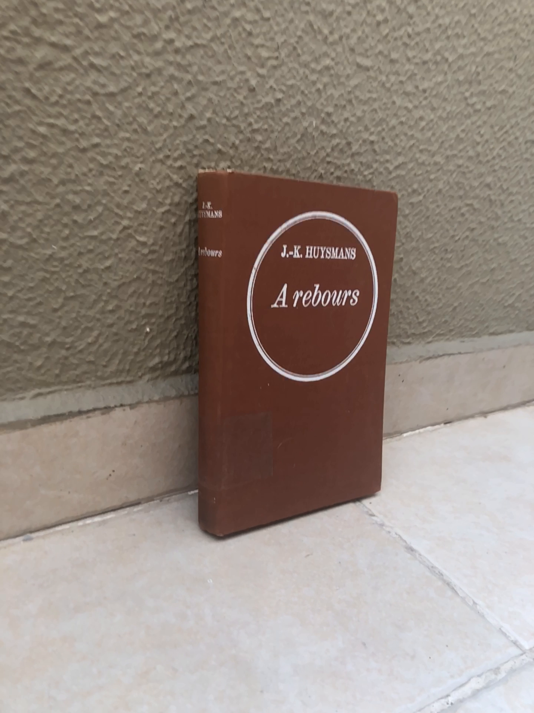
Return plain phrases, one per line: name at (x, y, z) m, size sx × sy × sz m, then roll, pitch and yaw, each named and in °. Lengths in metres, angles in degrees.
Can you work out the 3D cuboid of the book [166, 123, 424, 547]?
book at (0.021, -0.015, 0.348) m, size 0.150 × 0.209 × 0.040 m, roll -6°, pitch 11°, yaw -33°
